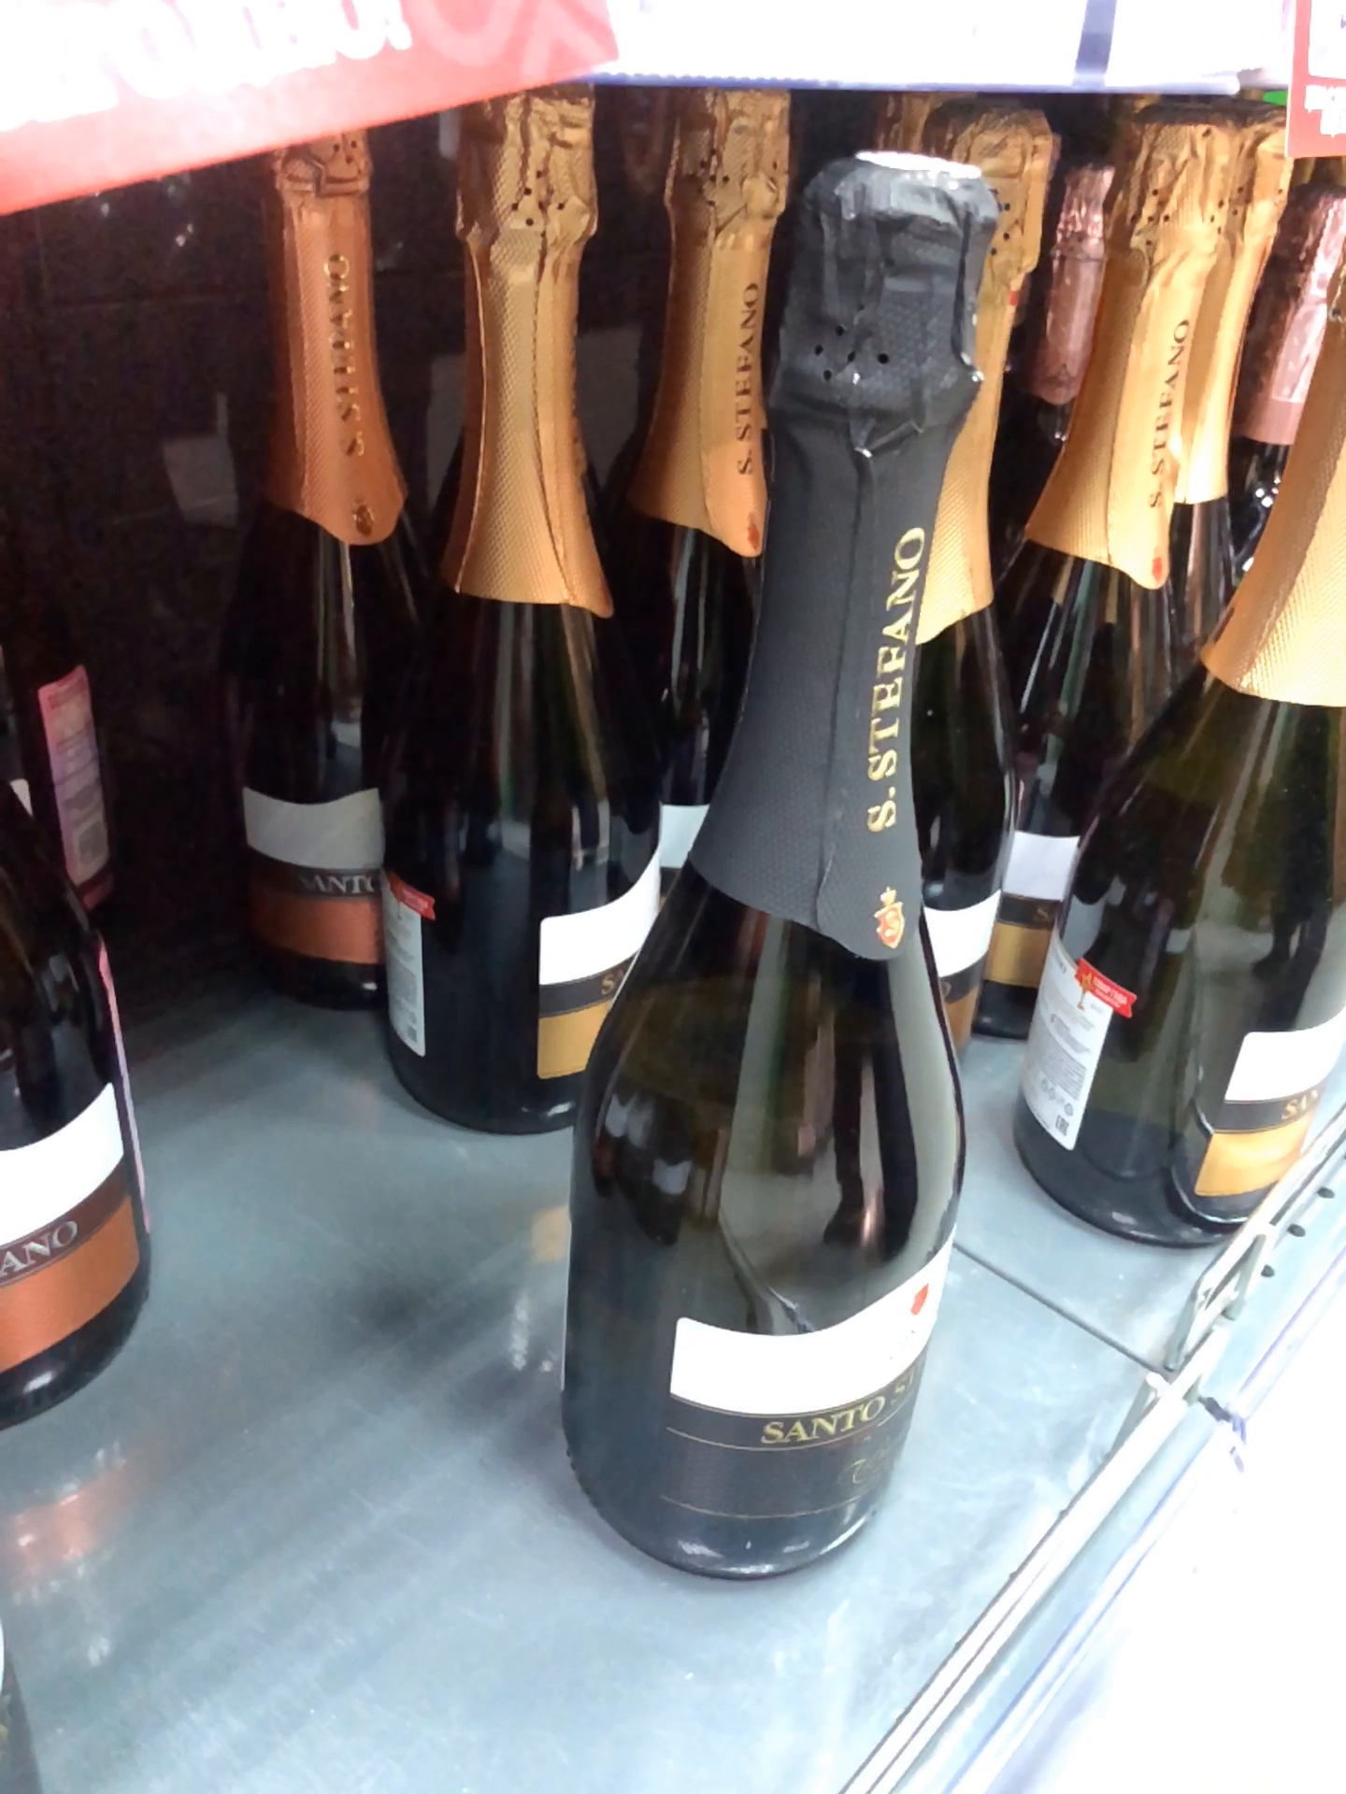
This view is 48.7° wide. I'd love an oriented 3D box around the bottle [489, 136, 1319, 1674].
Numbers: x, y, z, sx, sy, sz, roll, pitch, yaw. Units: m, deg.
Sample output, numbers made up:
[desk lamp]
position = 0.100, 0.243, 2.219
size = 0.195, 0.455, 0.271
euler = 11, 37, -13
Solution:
[bottle]
position = 0.030, 0.009, 0.307
size = 0.090, 0.288, 0.100
euler = 26, 37, 32
